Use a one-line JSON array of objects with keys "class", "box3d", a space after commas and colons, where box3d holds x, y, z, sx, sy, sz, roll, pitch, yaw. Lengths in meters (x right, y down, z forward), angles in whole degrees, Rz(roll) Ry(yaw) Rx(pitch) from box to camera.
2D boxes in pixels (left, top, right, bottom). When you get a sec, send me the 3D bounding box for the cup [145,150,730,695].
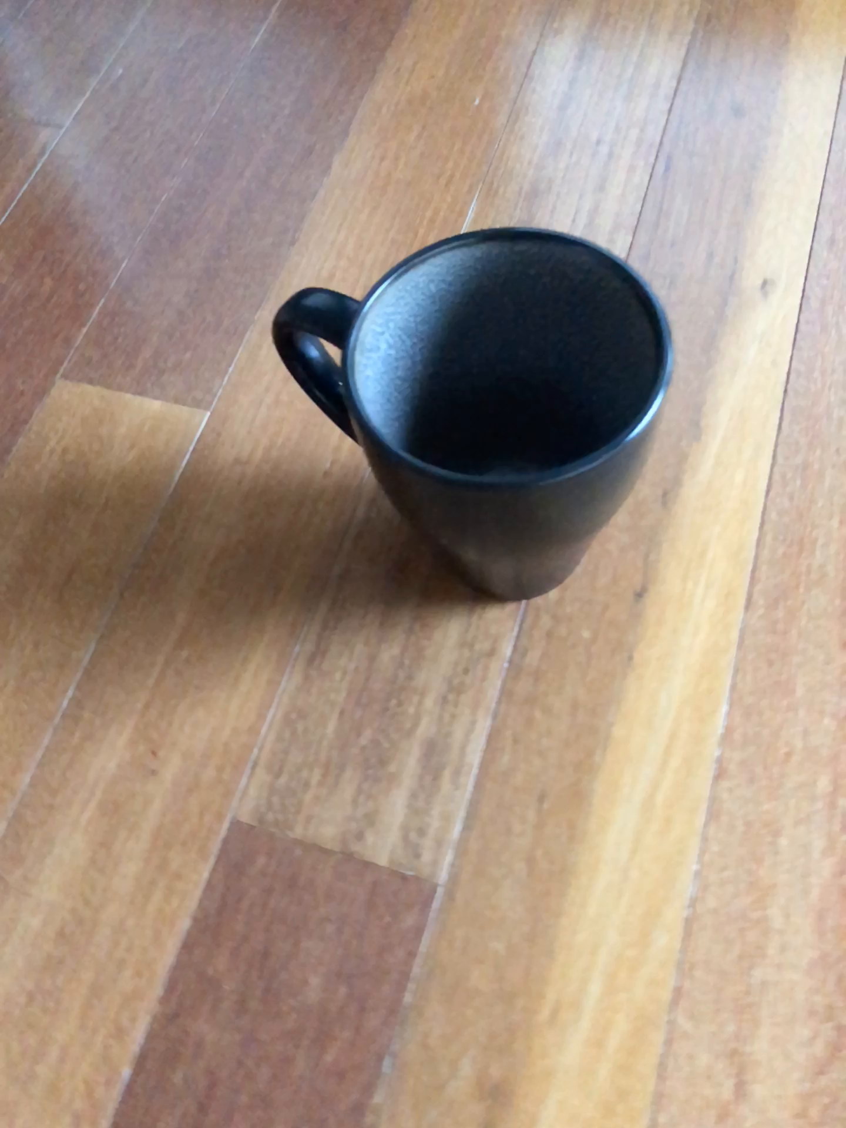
[{"class": "cup", "box3d": [0.007, -0.044, 0.304, 0.137, 0.100, 0.090, 28, 69, 19]}]
